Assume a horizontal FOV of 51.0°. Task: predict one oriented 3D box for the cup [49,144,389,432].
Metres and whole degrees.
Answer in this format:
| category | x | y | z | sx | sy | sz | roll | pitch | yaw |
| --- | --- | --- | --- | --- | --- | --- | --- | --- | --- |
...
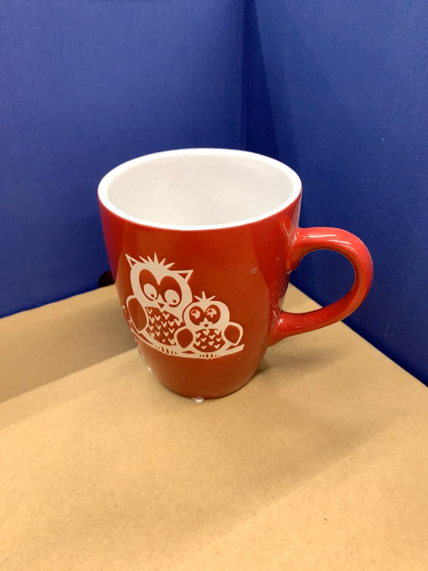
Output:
| category | x | y | z | sx | sy | sz | roll | pitch | yaw |
| --- | --- | --- | --- | --- | --- | --- | --- | --- | --- |
| cup | 0.008 | -0.008 | 0.221 | 0.120 | 0.091 | 0.100 | 6 | 33 | 10 |
